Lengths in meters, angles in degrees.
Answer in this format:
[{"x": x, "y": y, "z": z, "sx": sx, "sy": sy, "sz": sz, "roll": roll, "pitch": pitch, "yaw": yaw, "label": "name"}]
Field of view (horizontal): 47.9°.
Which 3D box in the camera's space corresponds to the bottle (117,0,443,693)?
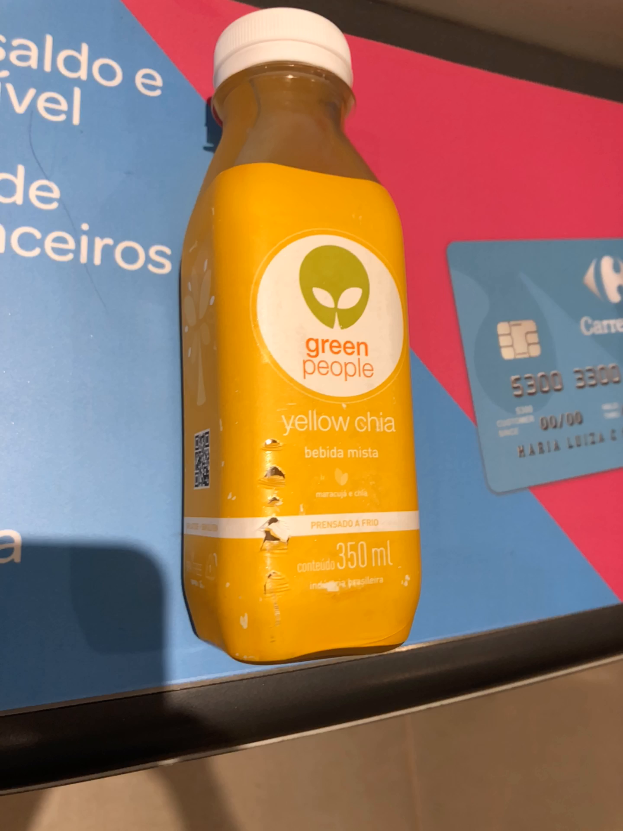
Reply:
[{"x": -0.015, "y": -0.029, "z": 0.194, "sx": 0.060, "sy": 0.060, "sz": 0.180, "roll": -1, "pitch": 82, "yaw": -24, "label": "bottle"}]
